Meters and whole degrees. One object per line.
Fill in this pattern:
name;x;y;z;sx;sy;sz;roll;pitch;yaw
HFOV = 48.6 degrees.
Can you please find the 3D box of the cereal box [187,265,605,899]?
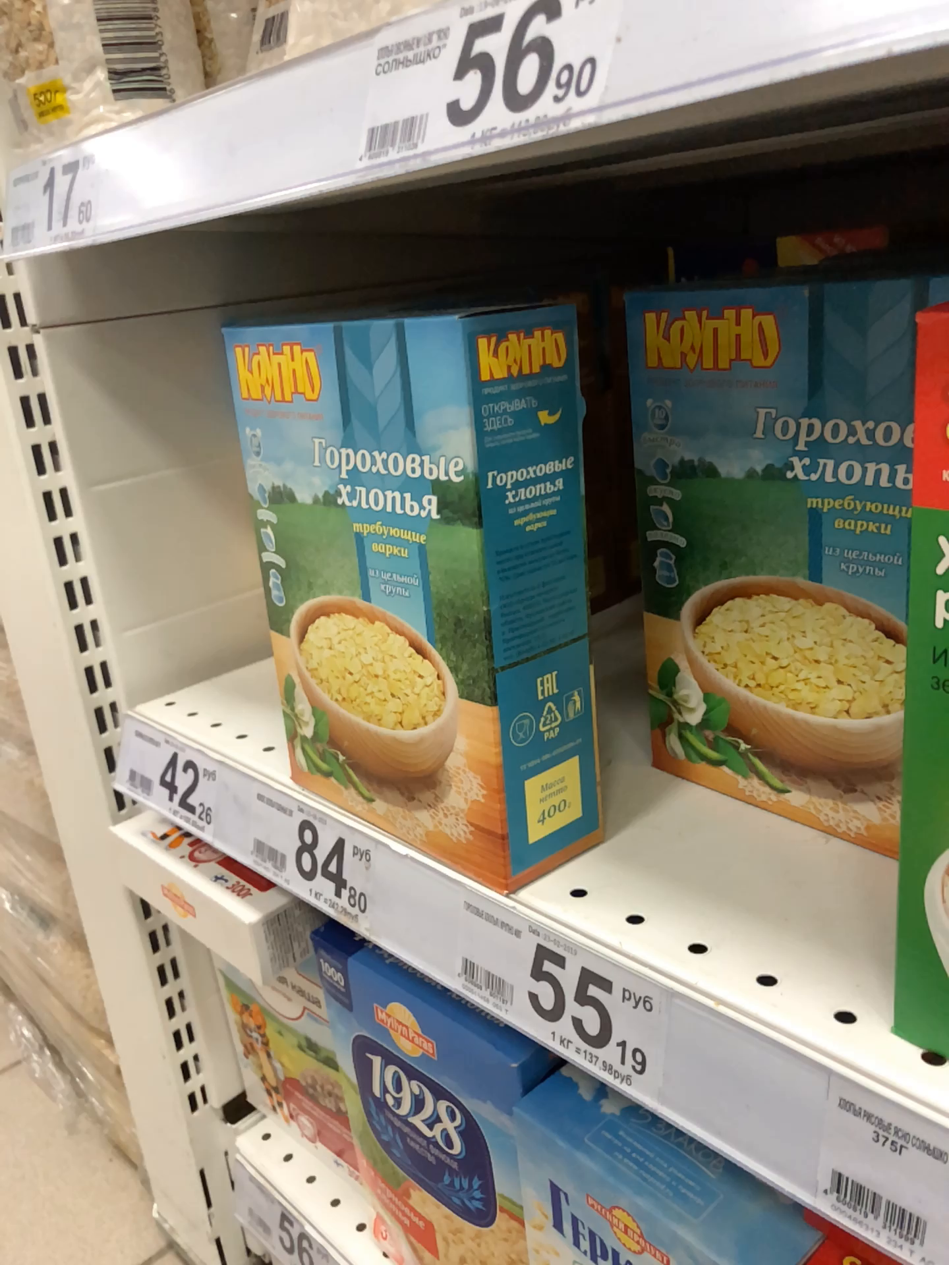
cereal box;-0.032;-0.026;0.396;0.050;0.199;0.160;-19;22;-38
